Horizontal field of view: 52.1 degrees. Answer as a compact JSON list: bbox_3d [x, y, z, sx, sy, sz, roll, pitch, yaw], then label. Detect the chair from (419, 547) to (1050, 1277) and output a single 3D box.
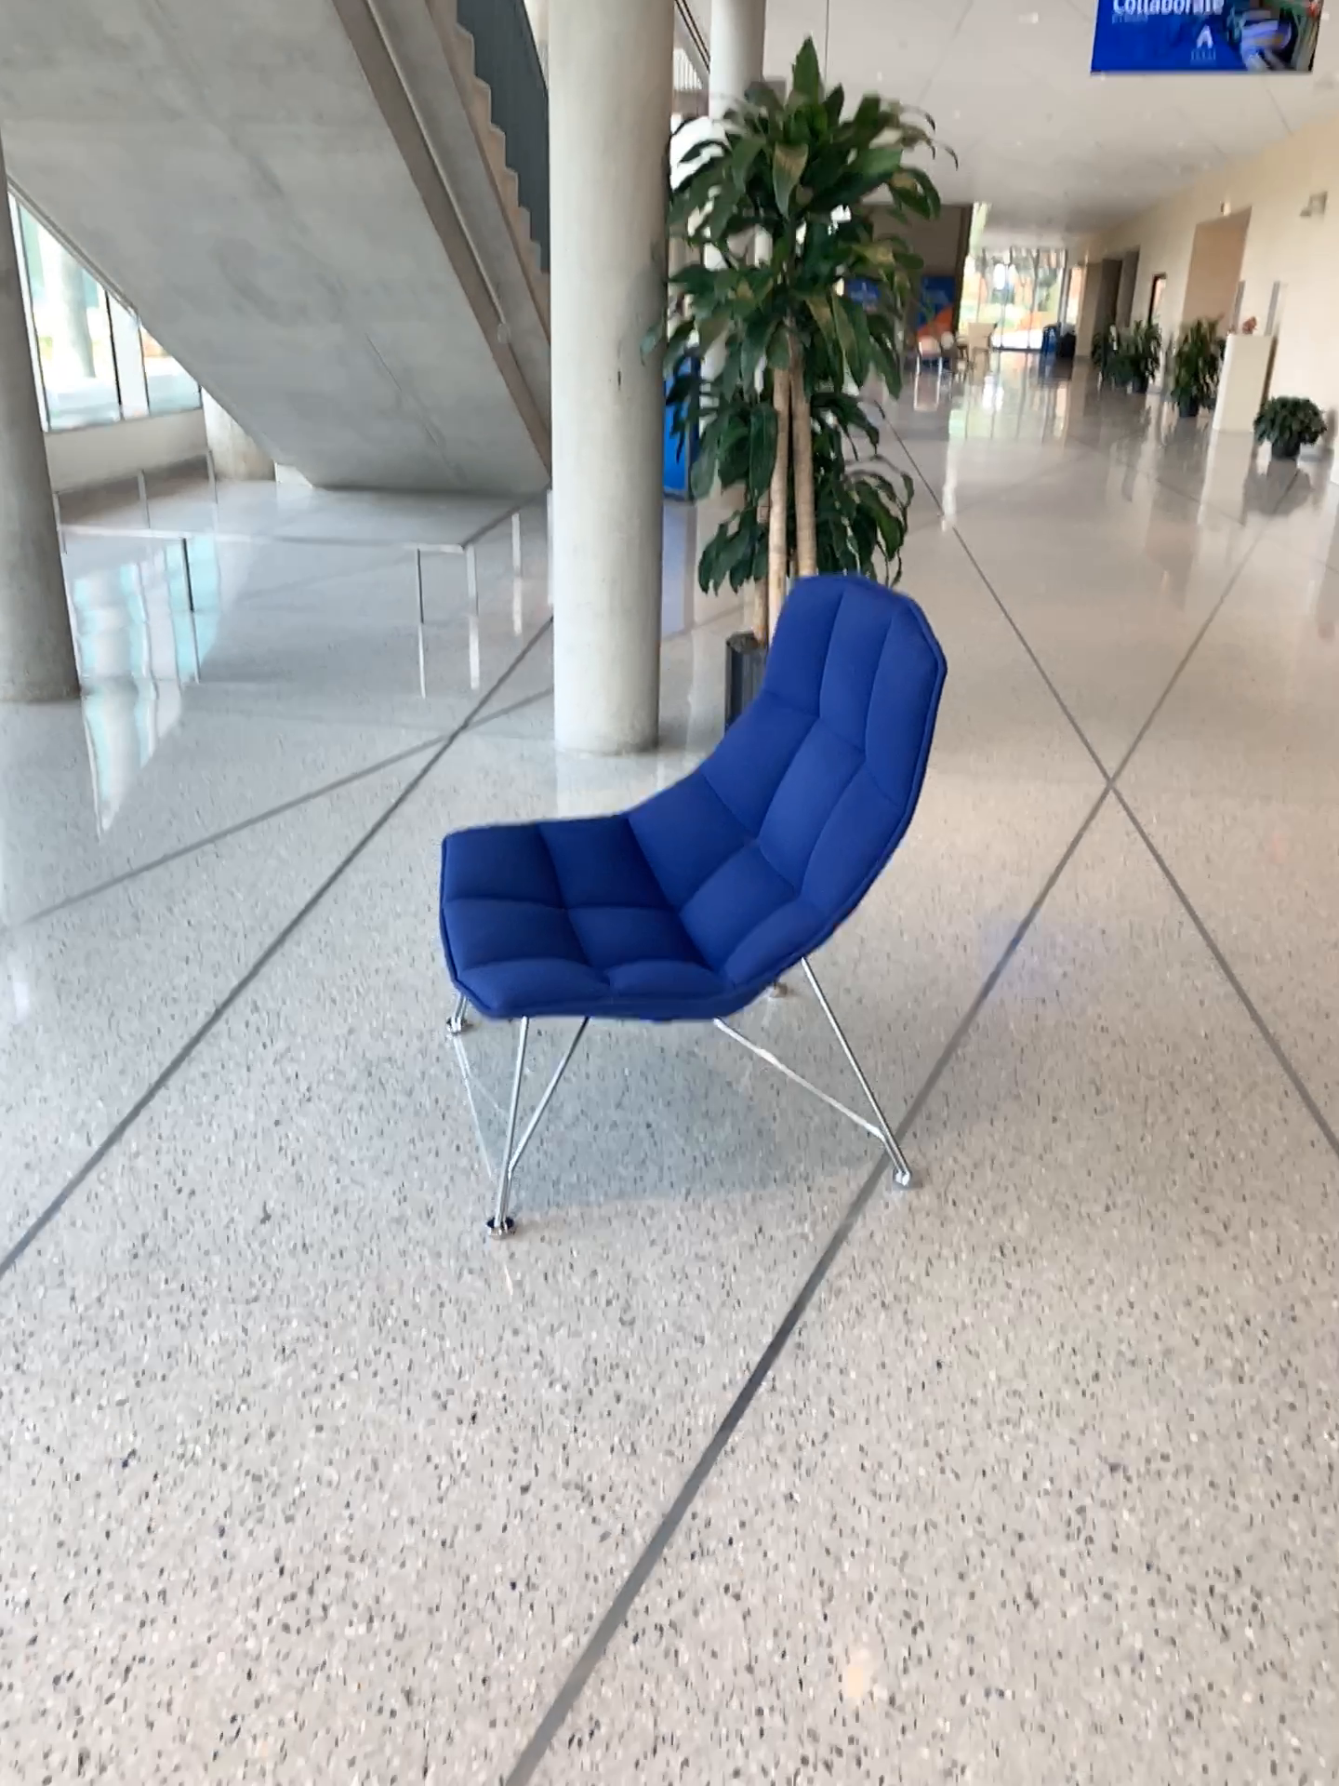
[{"bbox_3d":[0.028,-0.038,2.364,0.828,0.965,0.803,-3,23,-12],"label":"chair"}]
